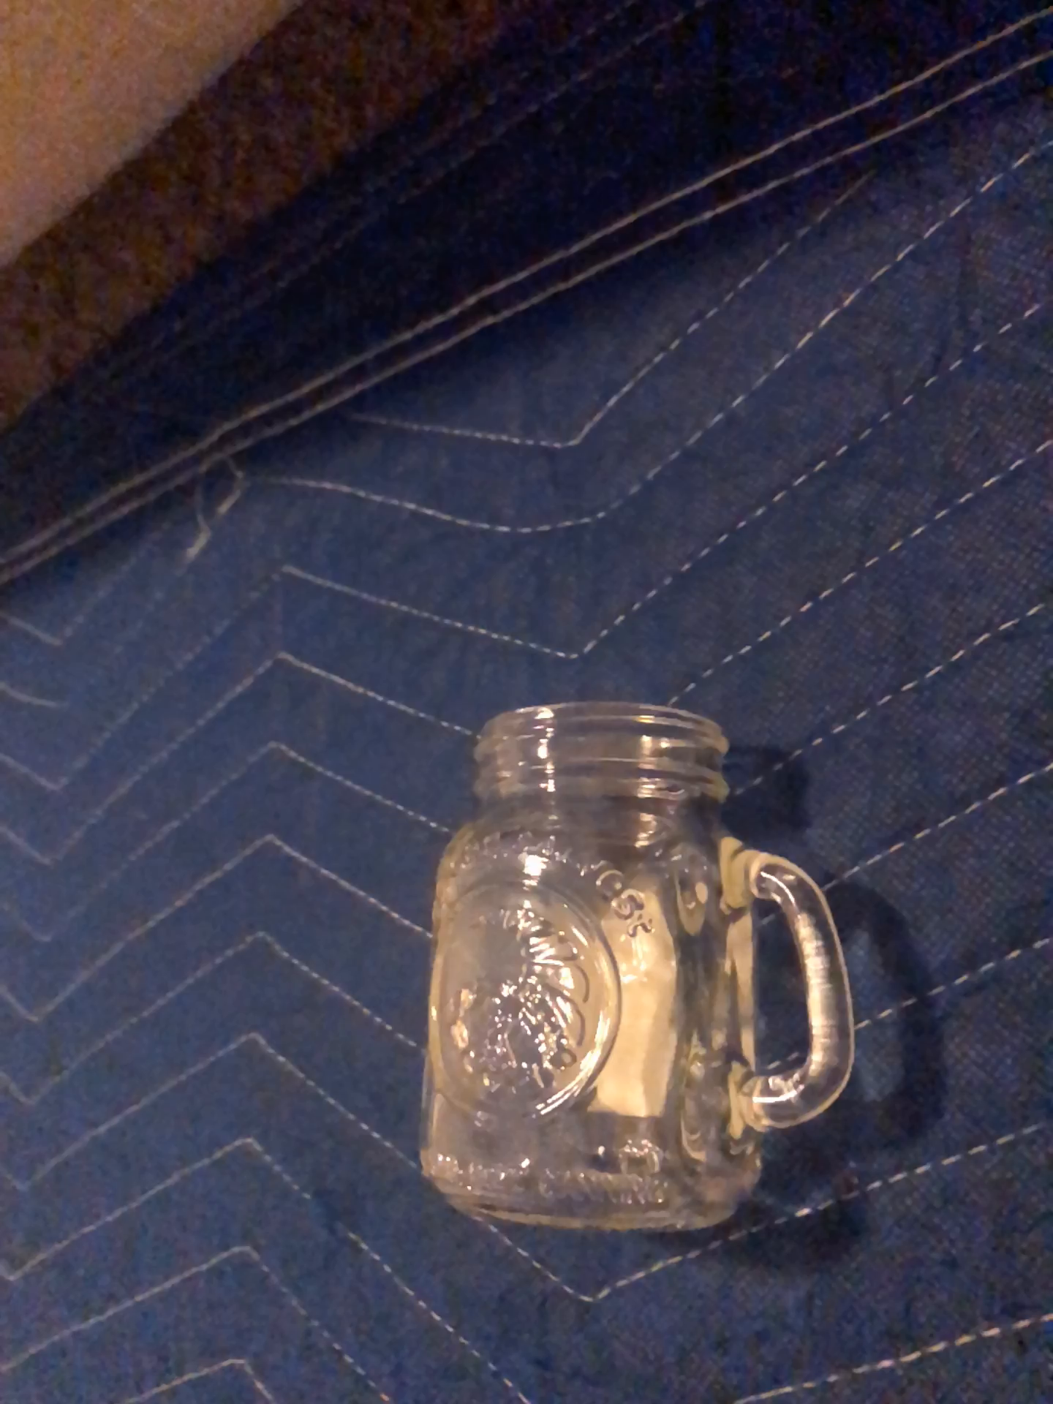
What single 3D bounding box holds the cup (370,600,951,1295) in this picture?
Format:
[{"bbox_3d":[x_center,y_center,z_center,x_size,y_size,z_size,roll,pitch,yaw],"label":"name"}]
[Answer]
[{"bbox_3d":[0.018,0.042,0.210,0.089,0.043,0.095,-9,77,43],"label":"cup"}]
